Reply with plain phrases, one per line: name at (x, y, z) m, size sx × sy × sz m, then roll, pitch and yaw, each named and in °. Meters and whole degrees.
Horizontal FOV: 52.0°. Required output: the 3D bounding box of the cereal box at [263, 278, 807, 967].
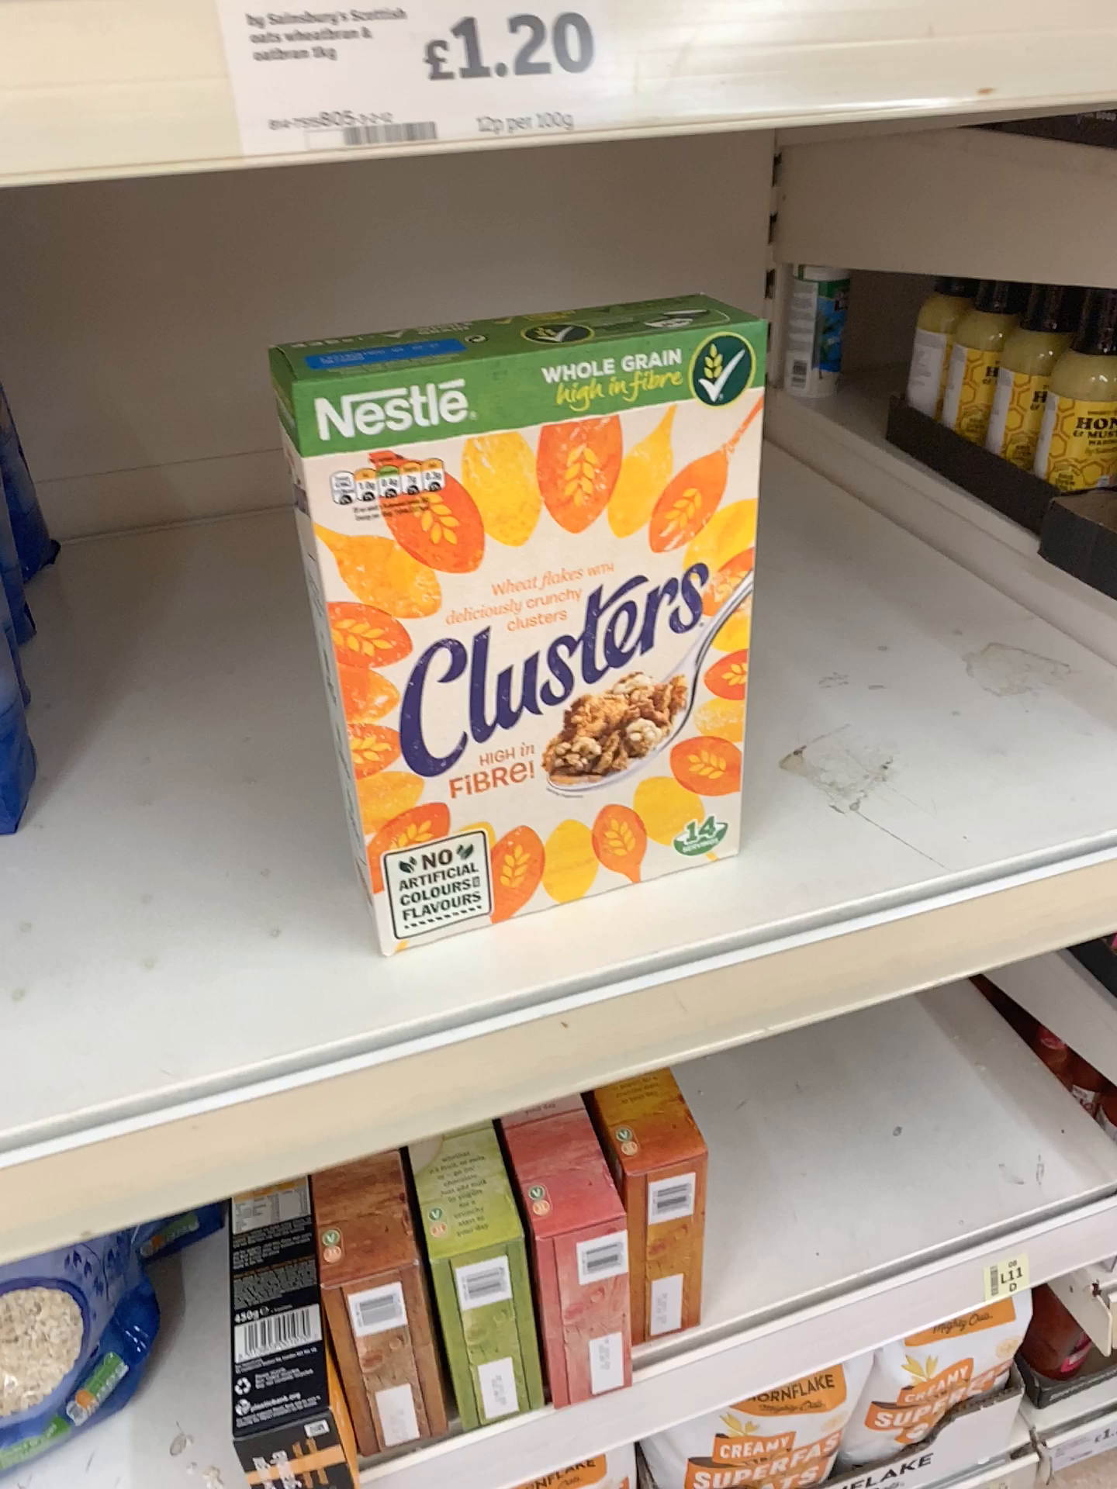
cereal box at (-0.003, -0.049, 0.509) m, size 0.200 × 0.267 × 0.061 m, roll -14°, pitch 34°, yaw -17°
